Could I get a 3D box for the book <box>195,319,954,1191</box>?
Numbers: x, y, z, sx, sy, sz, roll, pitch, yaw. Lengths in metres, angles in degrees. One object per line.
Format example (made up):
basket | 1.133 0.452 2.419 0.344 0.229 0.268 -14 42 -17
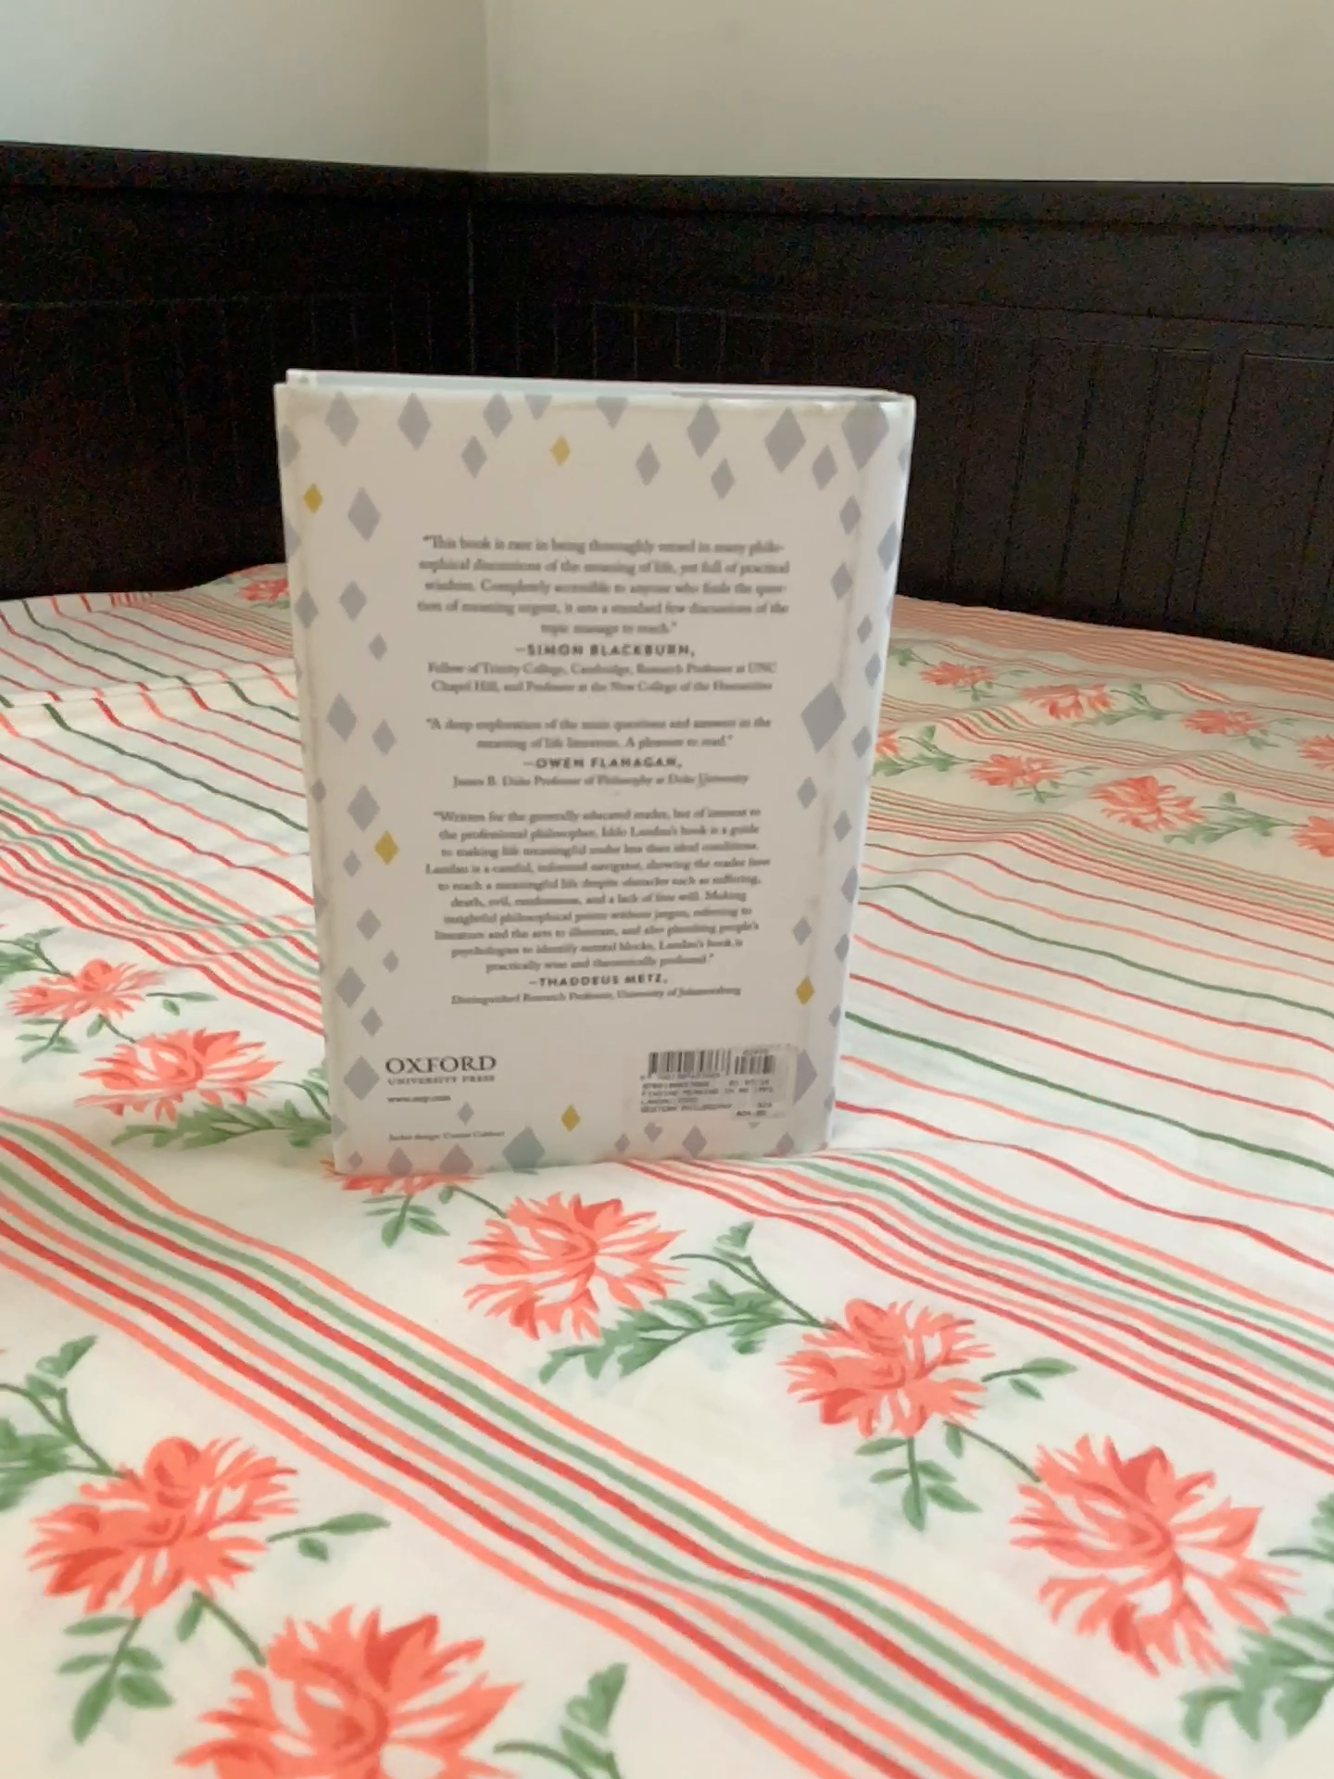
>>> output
book | -0.023 -0.024 0.350 0.160 0.218 0.030 -1 26 -7
